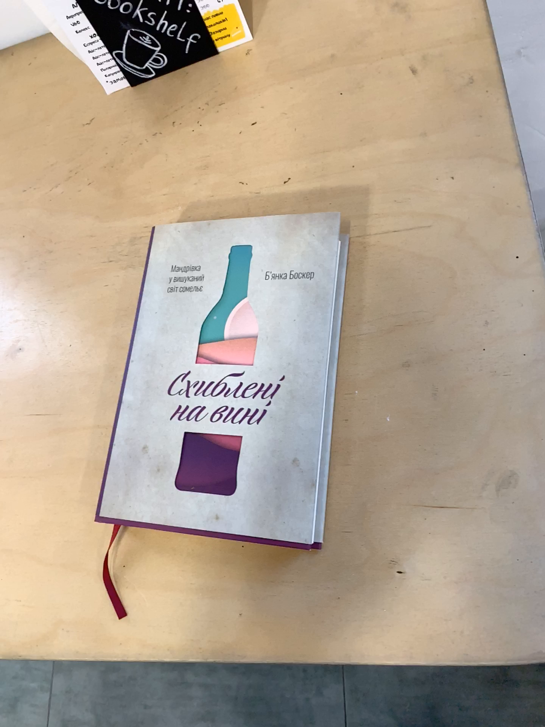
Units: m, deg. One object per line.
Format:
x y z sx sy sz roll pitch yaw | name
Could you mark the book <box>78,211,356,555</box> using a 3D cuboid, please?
-0.030 0.008 0.380 0.150 0.050 0.214 2 72 19 | book
